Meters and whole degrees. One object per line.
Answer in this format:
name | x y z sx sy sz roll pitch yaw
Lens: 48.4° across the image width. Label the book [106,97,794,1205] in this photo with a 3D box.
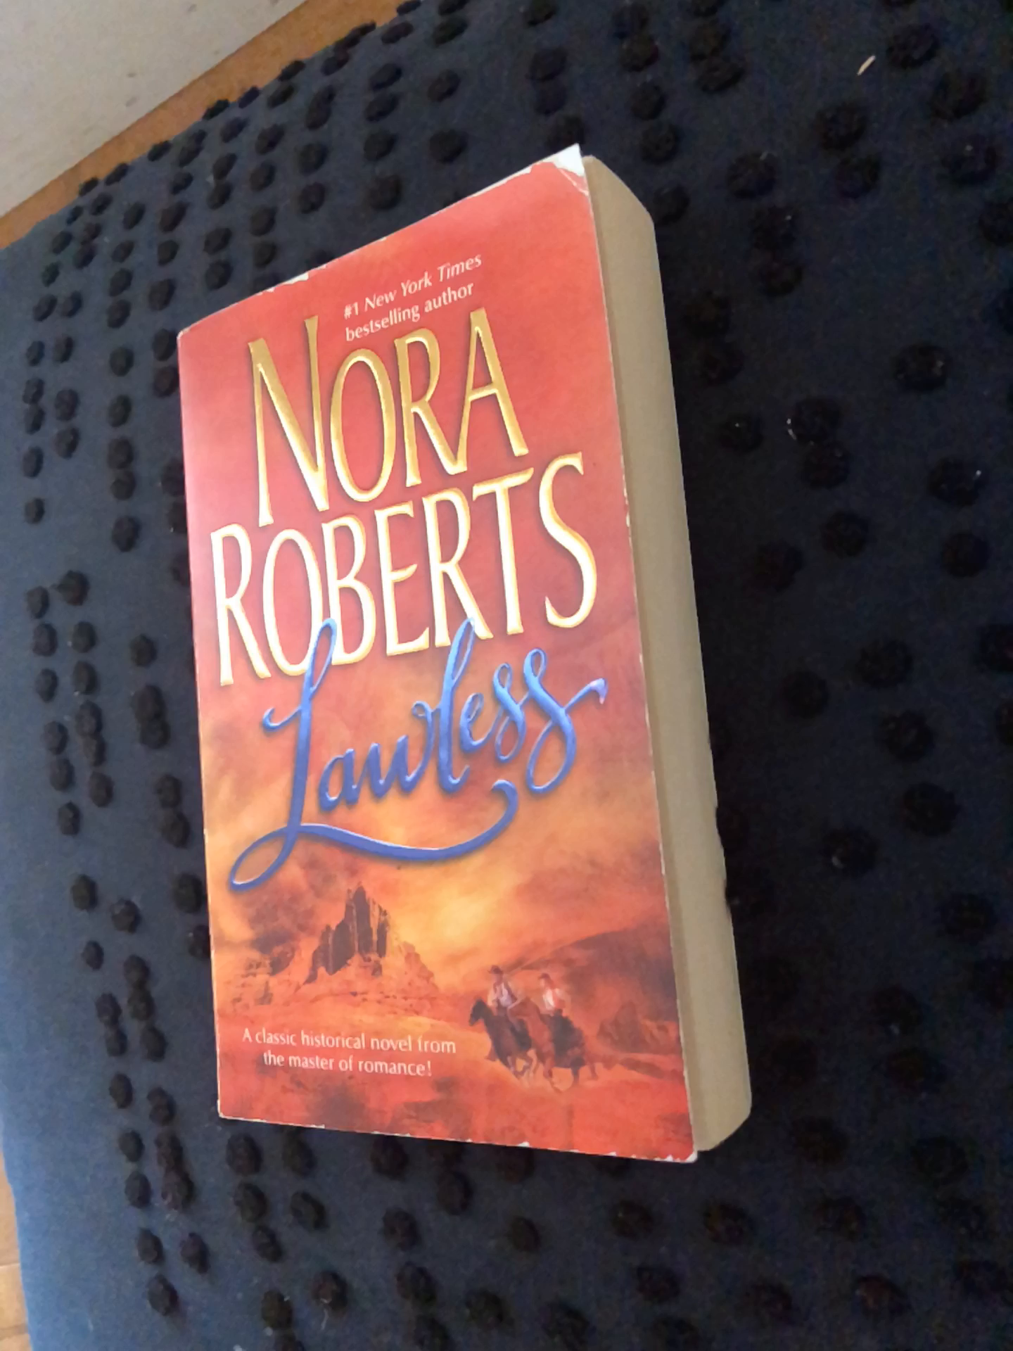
book | -0.017 -0.001 0.225 0.120 0.040 0.180 -8 82 26
